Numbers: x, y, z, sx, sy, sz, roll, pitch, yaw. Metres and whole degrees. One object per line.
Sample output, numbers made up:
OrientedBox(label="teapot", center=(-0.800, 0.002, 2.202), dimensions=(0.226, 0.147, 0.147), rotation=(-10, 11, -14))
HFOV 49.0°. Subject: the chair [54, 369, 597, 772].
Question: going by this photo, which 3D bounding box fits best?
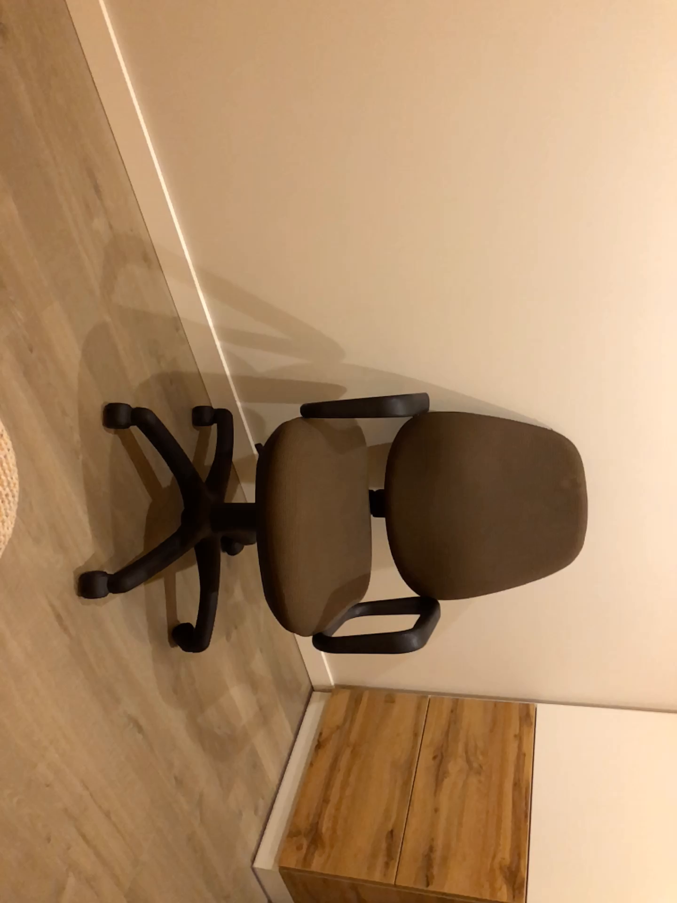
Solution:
OrientedBox(label="chair", center=(0.044, 0.176, 1.636), dimensions=(0.713, 0.976, 0.630), rotation=(-13, 101, -71))
